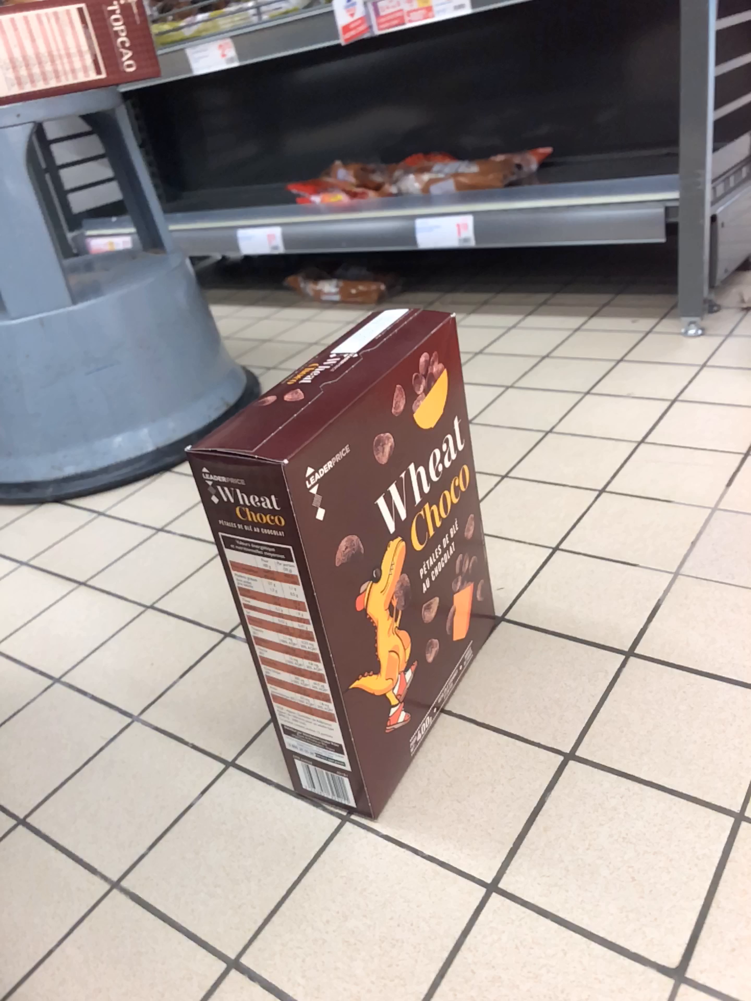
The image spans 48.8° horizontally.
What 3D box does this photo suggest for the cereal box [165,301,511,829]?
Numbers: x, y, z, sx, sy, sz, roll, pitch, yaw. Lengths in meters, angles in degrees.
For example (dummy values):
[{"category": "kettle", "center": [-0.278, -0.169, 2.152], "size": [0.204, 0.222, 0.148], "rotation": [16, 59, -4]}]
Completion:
[{"category": "cereal box", "center": [0.000, 0.031, 0.516], "size": [0.070, 0.249, 0.201], "rotation": [7, 34, 31]}]
